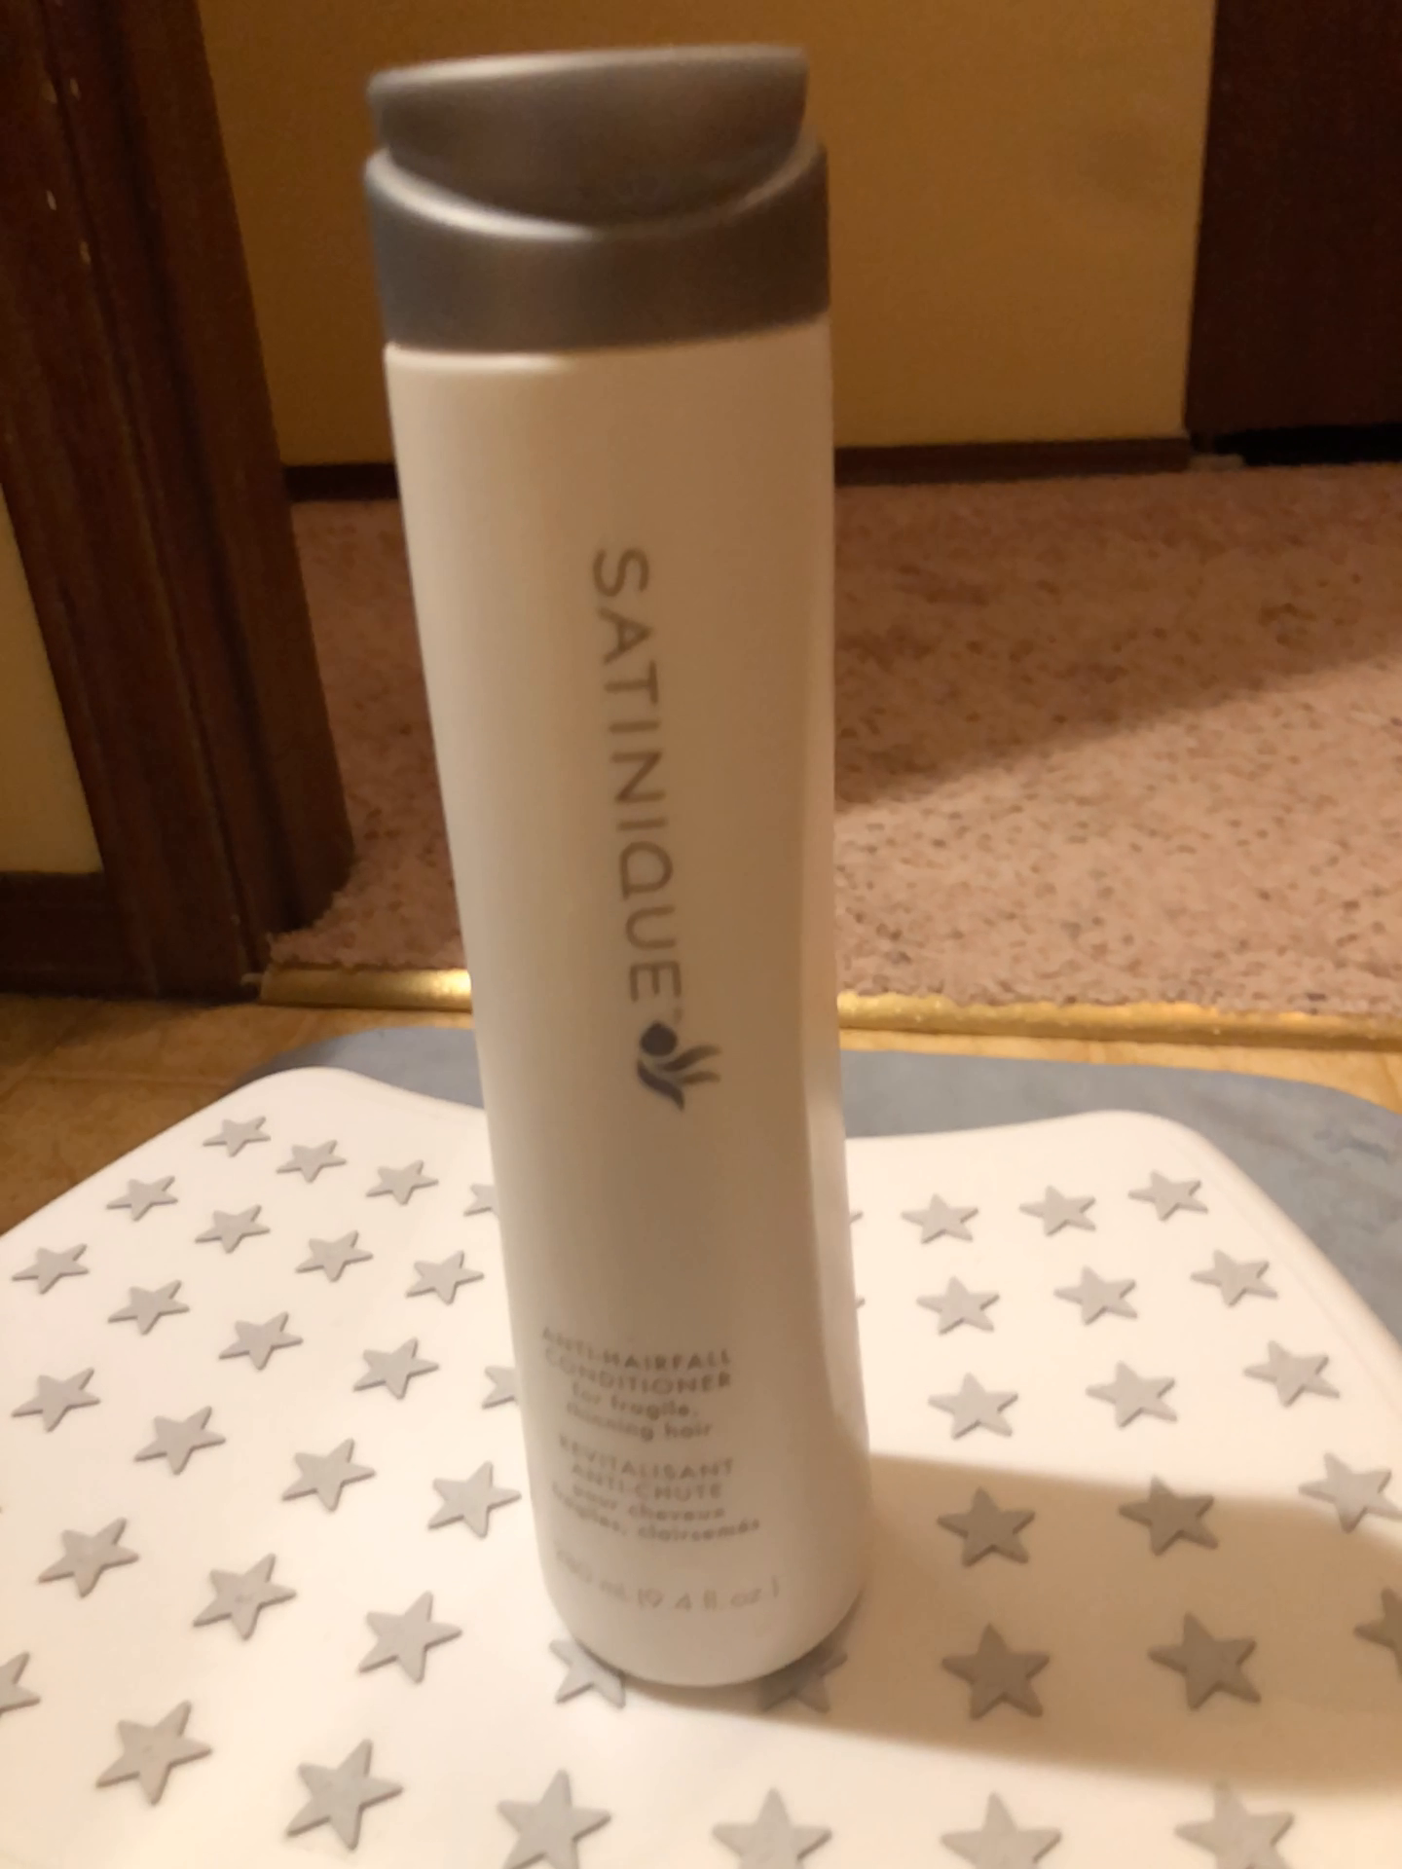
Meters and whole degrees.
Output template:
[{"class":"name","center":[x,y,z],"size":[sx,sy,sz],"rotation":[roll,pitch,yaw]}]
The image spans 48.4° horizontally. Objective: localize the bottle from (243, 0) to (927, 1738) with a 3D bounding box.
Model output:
[{"class":"bottle","center":[-0.002,0.004,0.197],"size":[0.050,0.209,0.050],"rotation":[-4,26,2]}]
